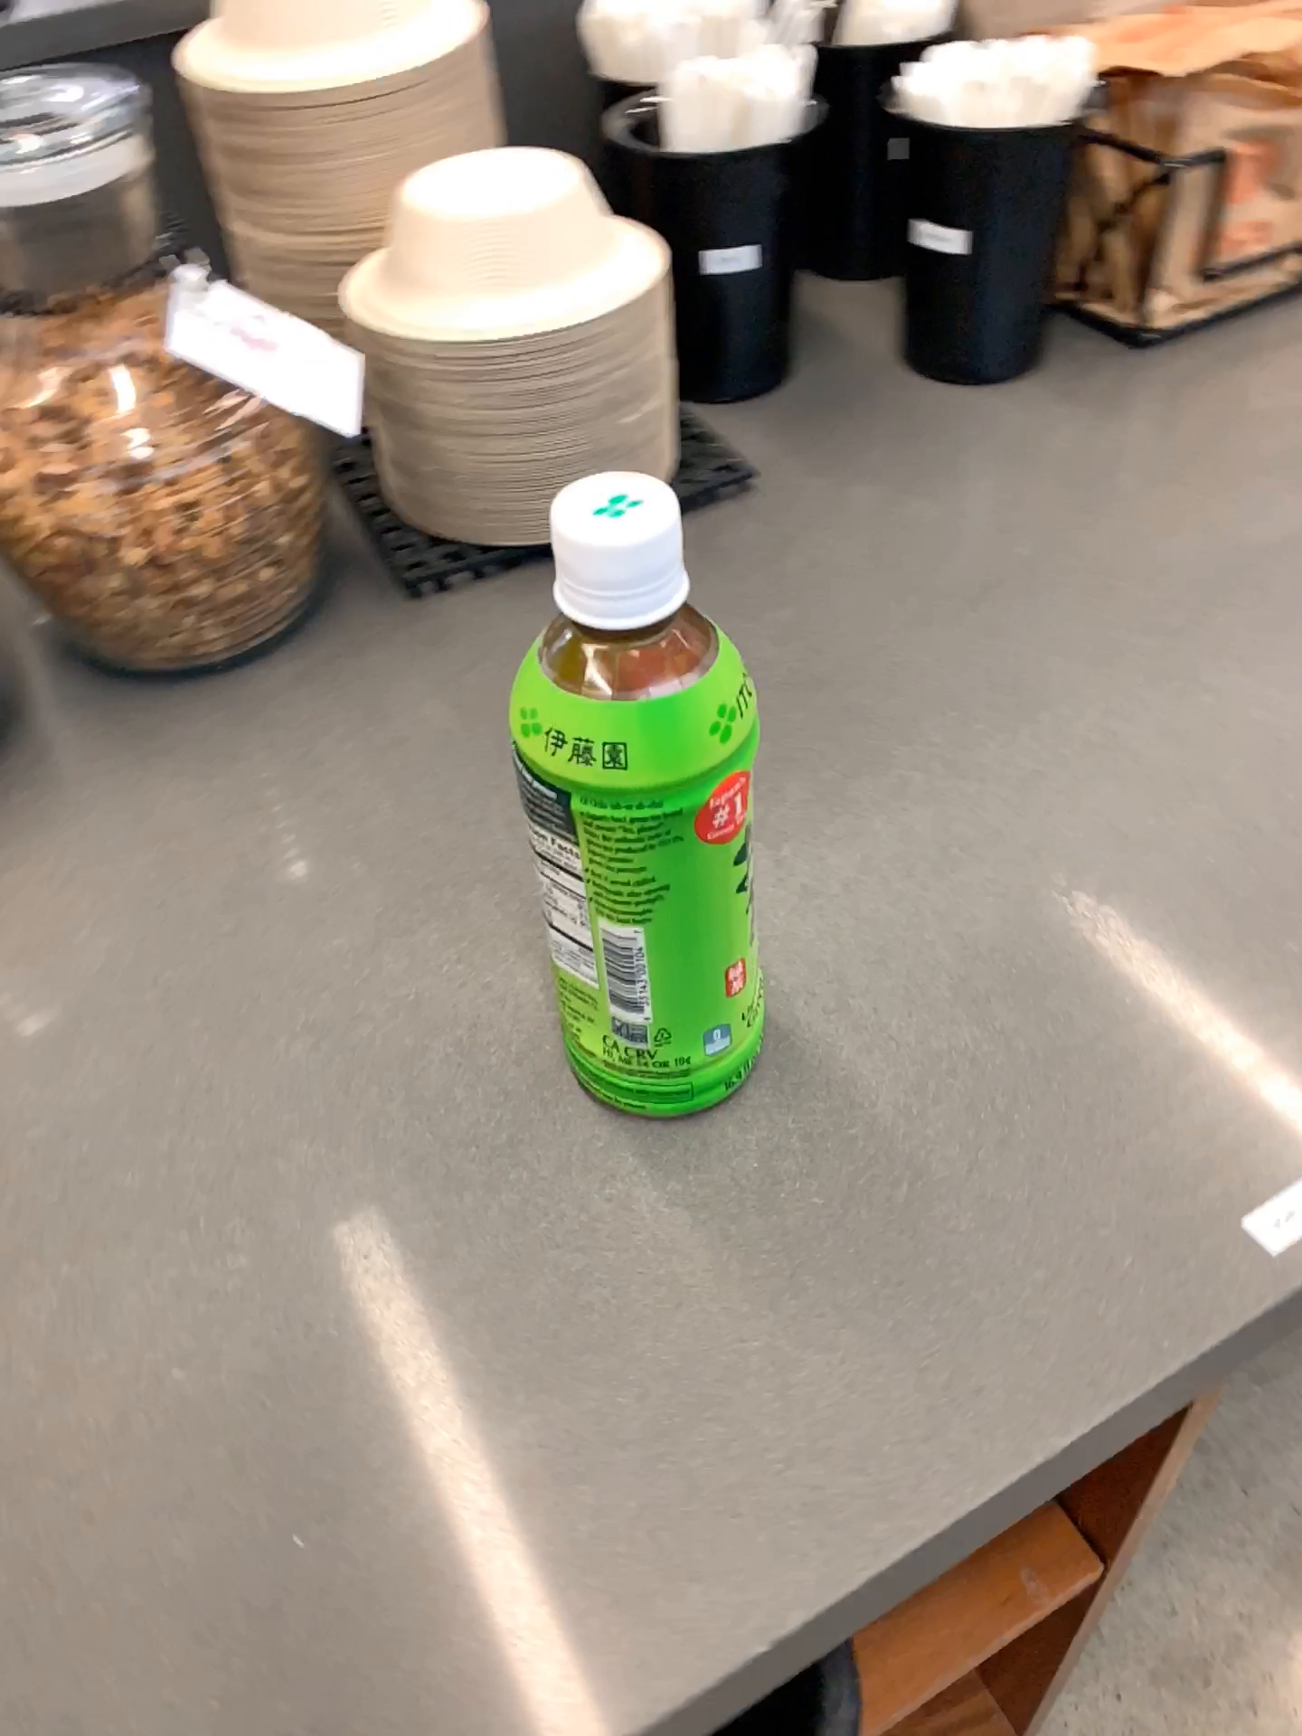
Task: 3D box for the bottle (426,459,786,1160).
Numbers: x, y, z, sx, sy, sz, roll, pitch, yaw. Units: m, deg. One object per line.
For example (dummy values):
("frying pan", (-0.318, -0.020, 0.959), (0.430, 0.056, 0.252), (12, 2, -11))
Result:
("bottle", (-0.001, -0.006, 0.377), (0.070, 0.199, 0.070), (-3, 46, 3))
